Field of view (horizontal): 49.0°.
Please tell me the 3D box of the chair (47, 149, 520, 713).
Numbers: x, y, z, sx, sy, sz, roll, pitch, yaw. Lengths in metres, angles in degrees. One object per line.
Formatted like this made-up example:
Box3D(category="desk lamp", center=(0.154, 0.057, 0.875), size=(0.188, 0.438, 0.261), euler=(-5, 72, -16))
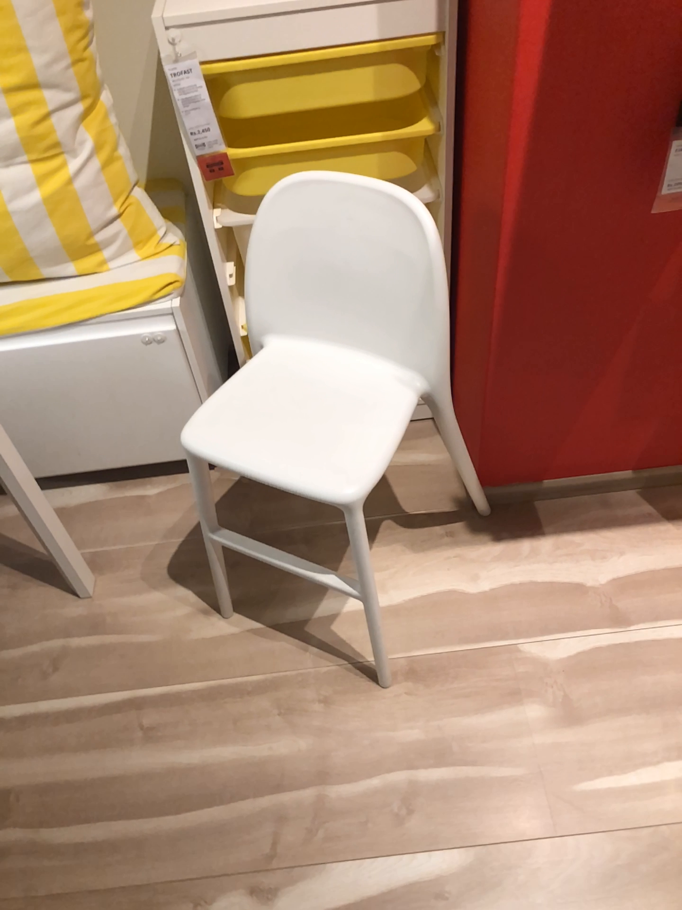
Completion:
Box3D(category="chair", center=(-0.019, -0.009, 1.198), size=(0.421, 0.706, 0.462), euler=(18, 56, 20))
